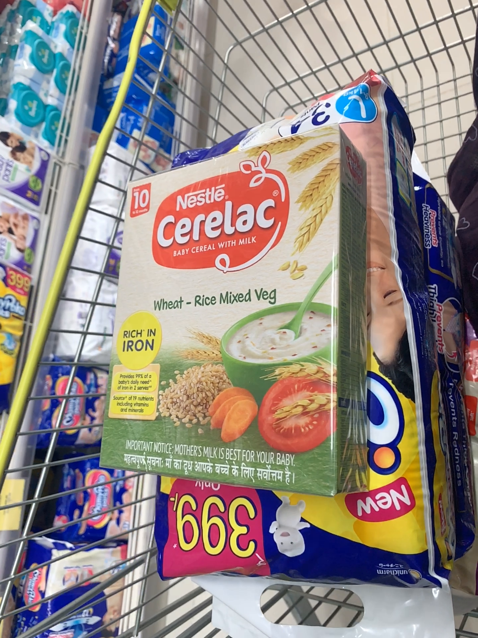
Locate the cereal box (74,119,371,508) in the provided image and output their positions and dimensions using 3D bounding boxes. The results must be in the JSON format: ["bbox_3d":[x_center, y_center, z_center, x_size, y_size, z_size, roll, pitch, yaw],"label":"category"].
[{"bbox_3d":[-0.011,0.001,0.286,0.161,0.050,0.180,-5,75,32],"label":"cereal box"}]
